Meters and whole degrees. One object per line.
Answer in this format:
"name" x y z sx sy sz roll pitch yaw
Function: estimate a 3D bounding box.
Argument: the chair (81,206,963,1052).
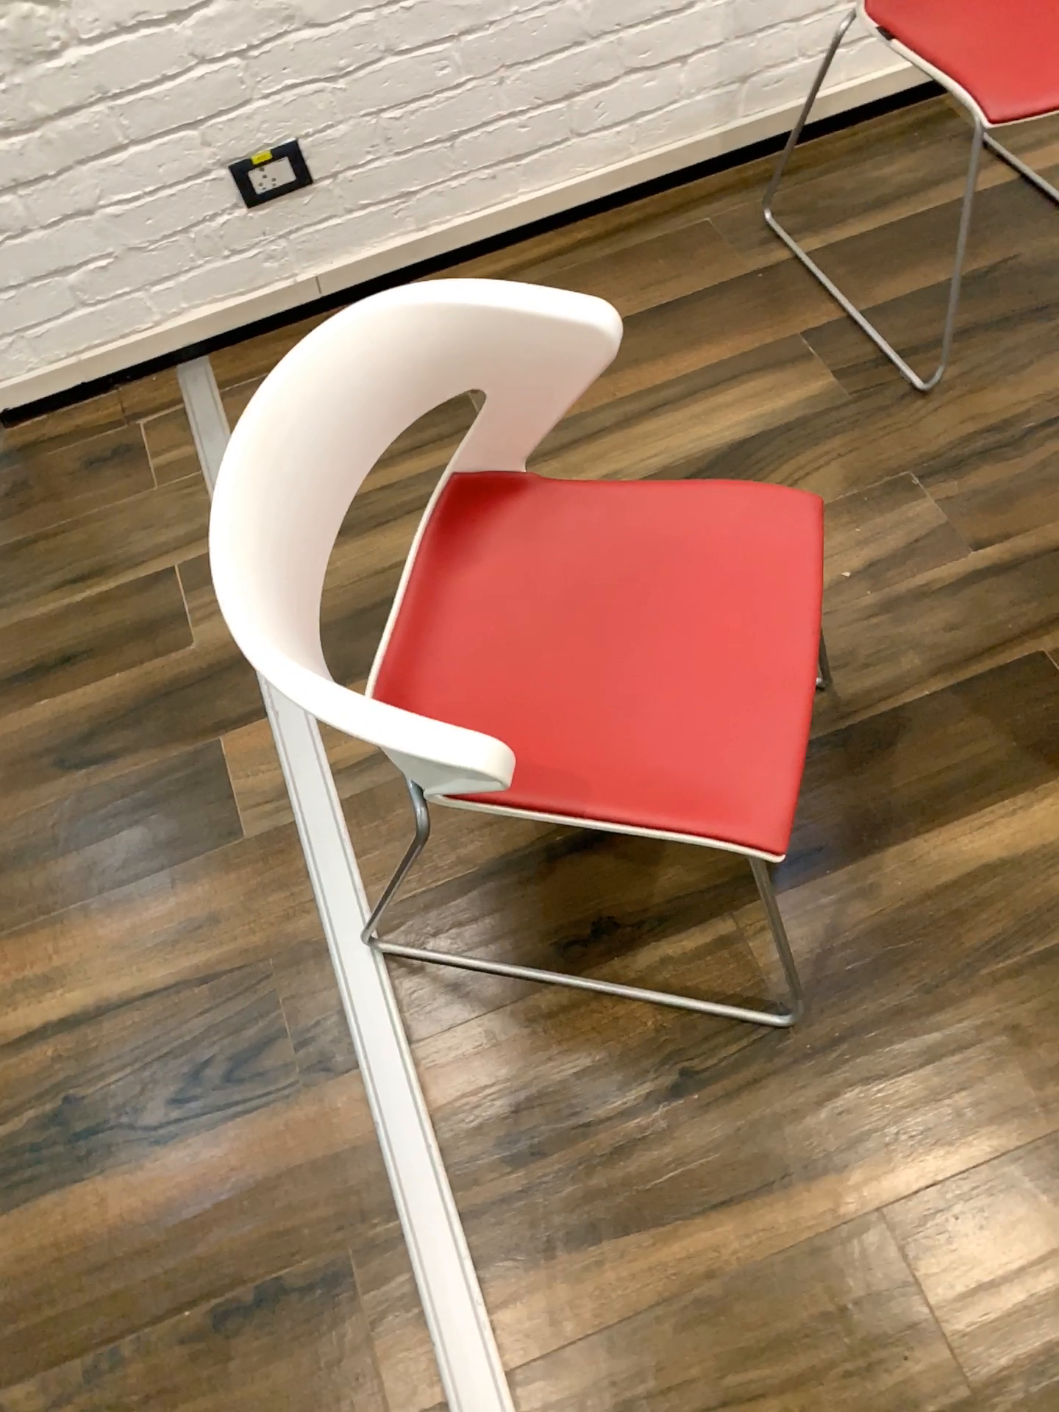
"chair" 0.064 -0.057 1.202 0.641 0.676 0.593 7 60 12
